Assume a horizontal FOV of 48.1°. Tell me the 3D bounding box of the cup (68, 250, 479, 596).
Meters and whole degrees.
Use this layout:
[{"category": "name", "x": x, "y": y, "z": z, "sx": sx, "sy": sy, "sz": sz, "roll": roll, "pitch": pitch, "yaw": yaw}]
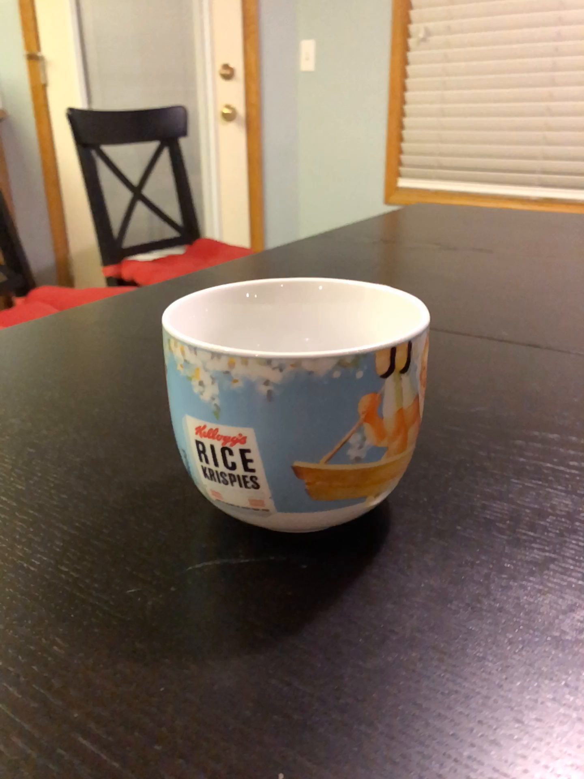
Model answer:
[{"category": "cup", "x": 0.000, "y": -0.003, "z": 0.313, "sx": 0.120, "sy": 0.090, "sz": 0.150, "roll": 14, "pitch": 27, "yaw": 32}]
